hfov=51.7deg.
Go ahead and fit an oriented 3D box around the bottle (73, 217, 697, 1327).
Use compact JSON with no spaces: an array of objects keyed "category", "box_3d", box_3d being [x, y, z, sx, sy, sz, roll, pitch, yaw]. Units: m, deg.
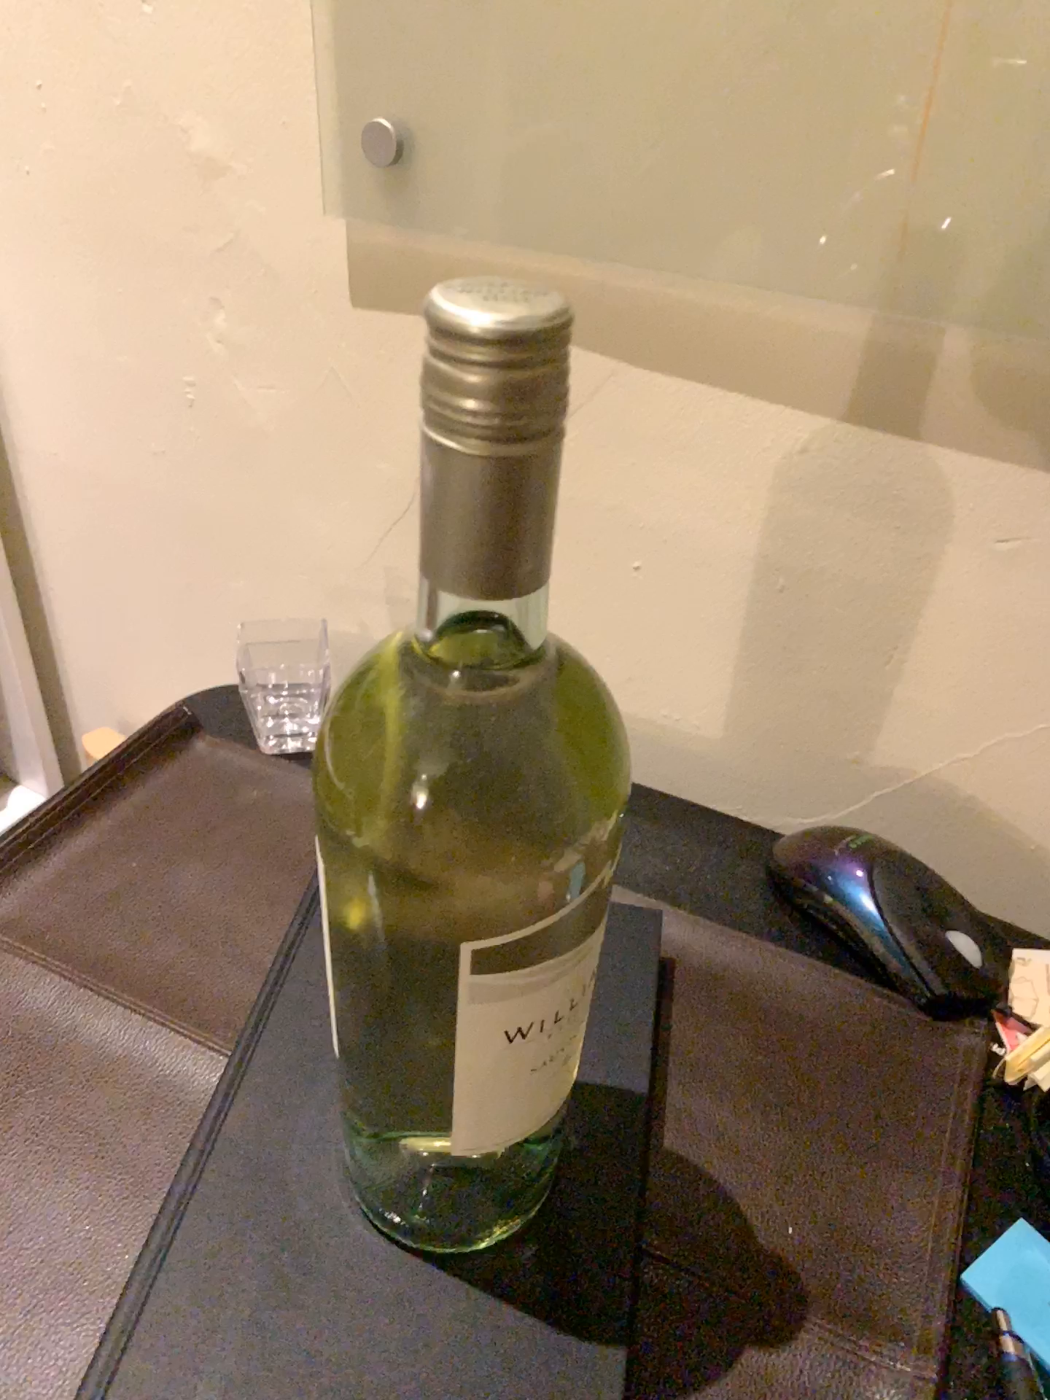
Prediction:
[{"category":"bottle","box_3d":[-0.027,0.040,0.300,0.090,0.298,0.090,2,36,-1]}]
